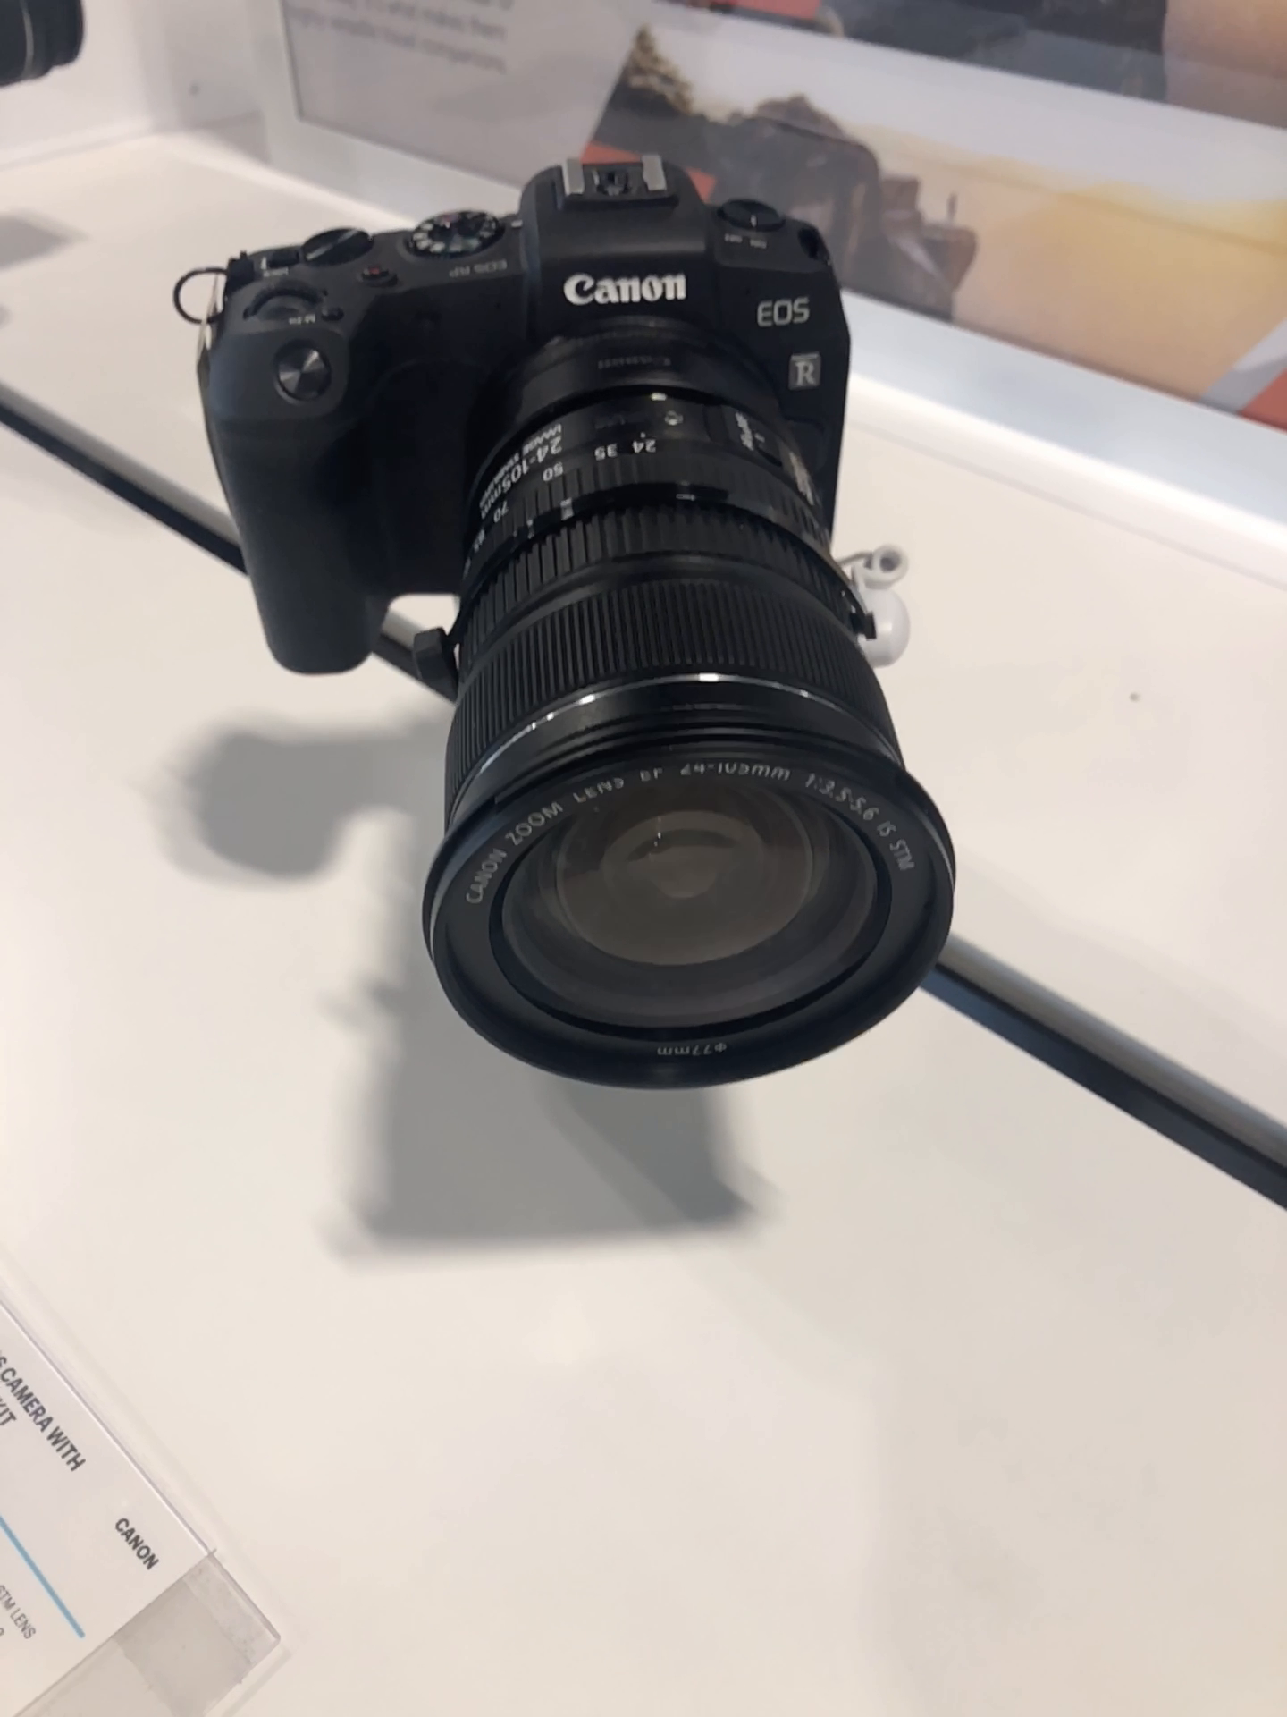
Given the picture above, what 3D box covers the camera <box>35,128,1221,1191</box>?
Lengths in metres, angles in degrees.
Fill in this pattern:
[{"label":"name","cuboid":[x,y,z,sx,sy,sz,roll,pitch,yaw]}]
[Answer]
[{"label":"camera","cuboid":[-0.010,-0.052,0.263,0.136,0.089,0.191,-4,44,-4]}]
